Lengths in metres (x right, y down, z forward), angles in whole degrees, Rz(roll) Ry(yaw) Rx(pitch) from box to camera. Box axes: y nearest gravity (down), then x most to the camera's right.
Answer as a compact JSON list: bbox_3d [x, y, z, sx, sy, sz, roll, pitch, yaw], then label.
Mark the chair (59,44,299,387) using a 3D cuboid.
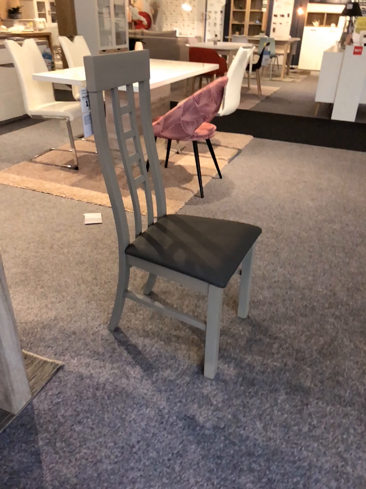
[{"bbox_3d":[0.009,-0.127,1.437,0.549,1.014,0.514,14,31,20],"label":"chair"}]
